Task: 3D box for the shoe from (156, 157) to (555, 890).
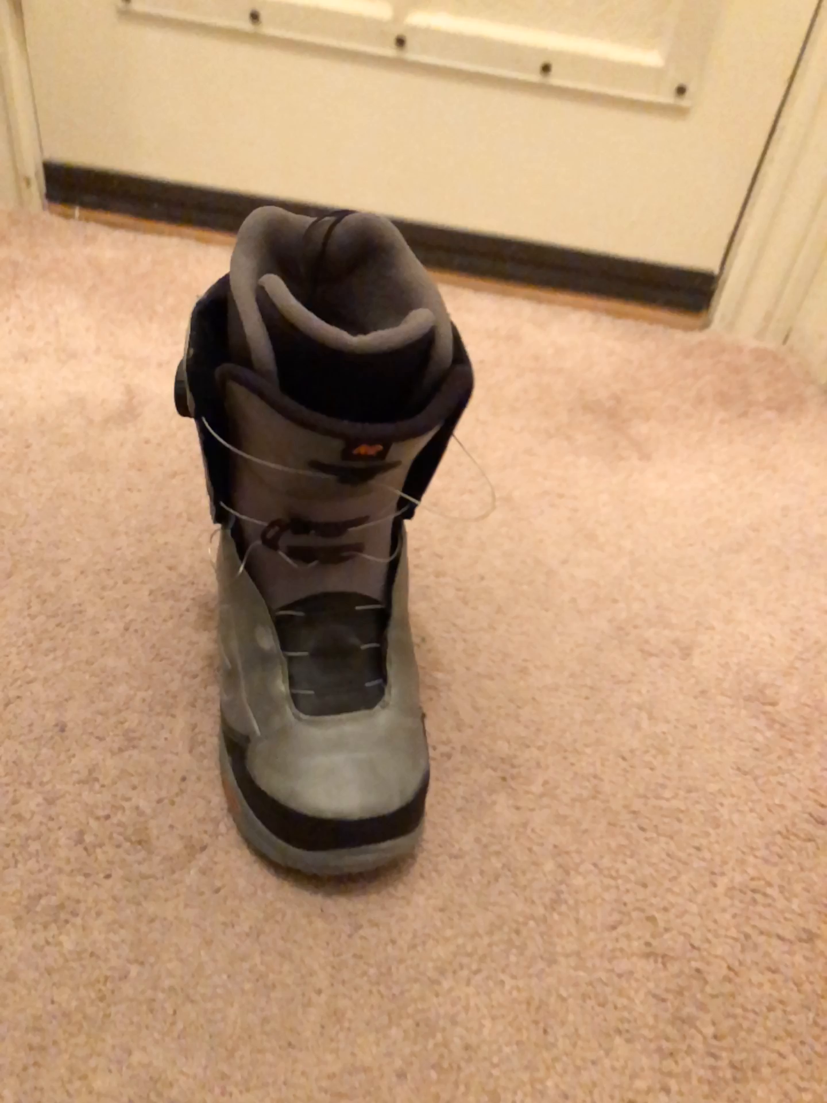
[{"bbox_3d":[-0.055,-0.018,0.504,0.137,0.282,0.274,-1,43,-11],"label":"shoe"}]
